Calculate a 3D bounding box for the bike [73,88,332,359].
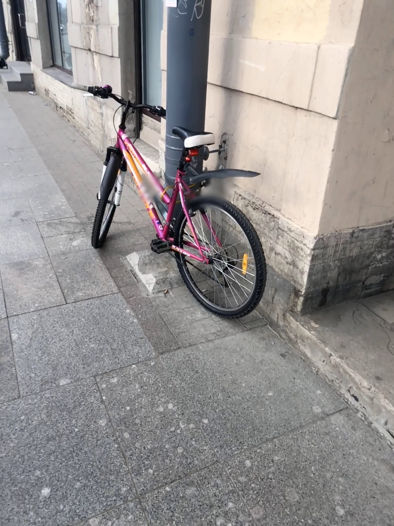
[{"bbox_3d":[-0.115,-0.401,2.433,0.623,0.974,1.581,-15,31,-30],"label":"bike"}]
